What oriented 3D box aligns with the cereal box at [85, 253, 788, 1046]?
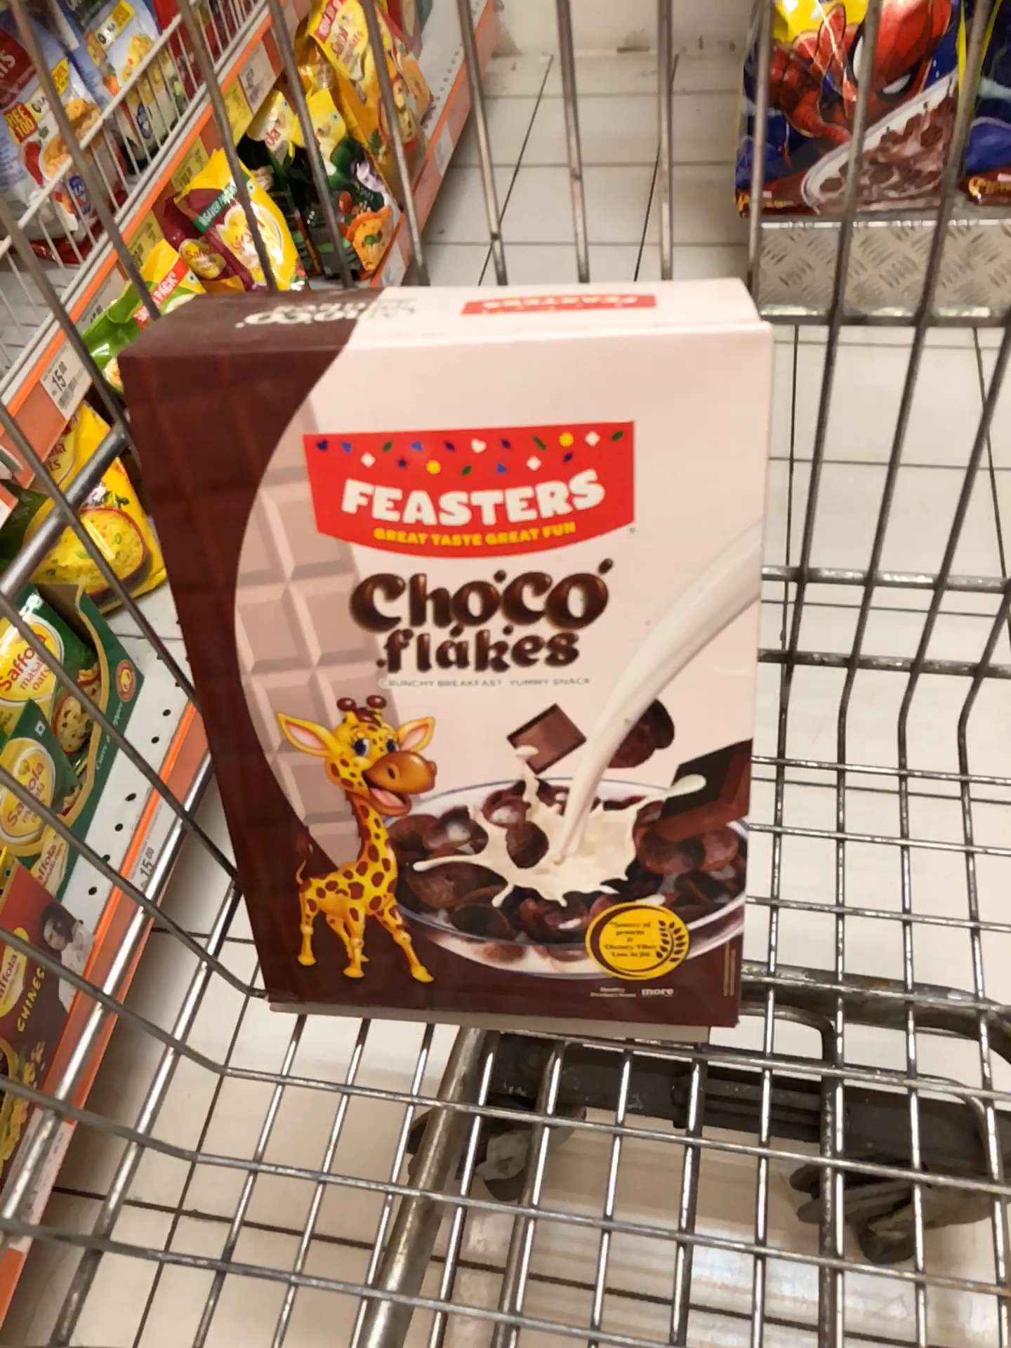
[{"bbox_3d":[-0.008,0.003,0.353,0.170,0.239,0.070,-1,30,7],"label":"cereal box"}]
